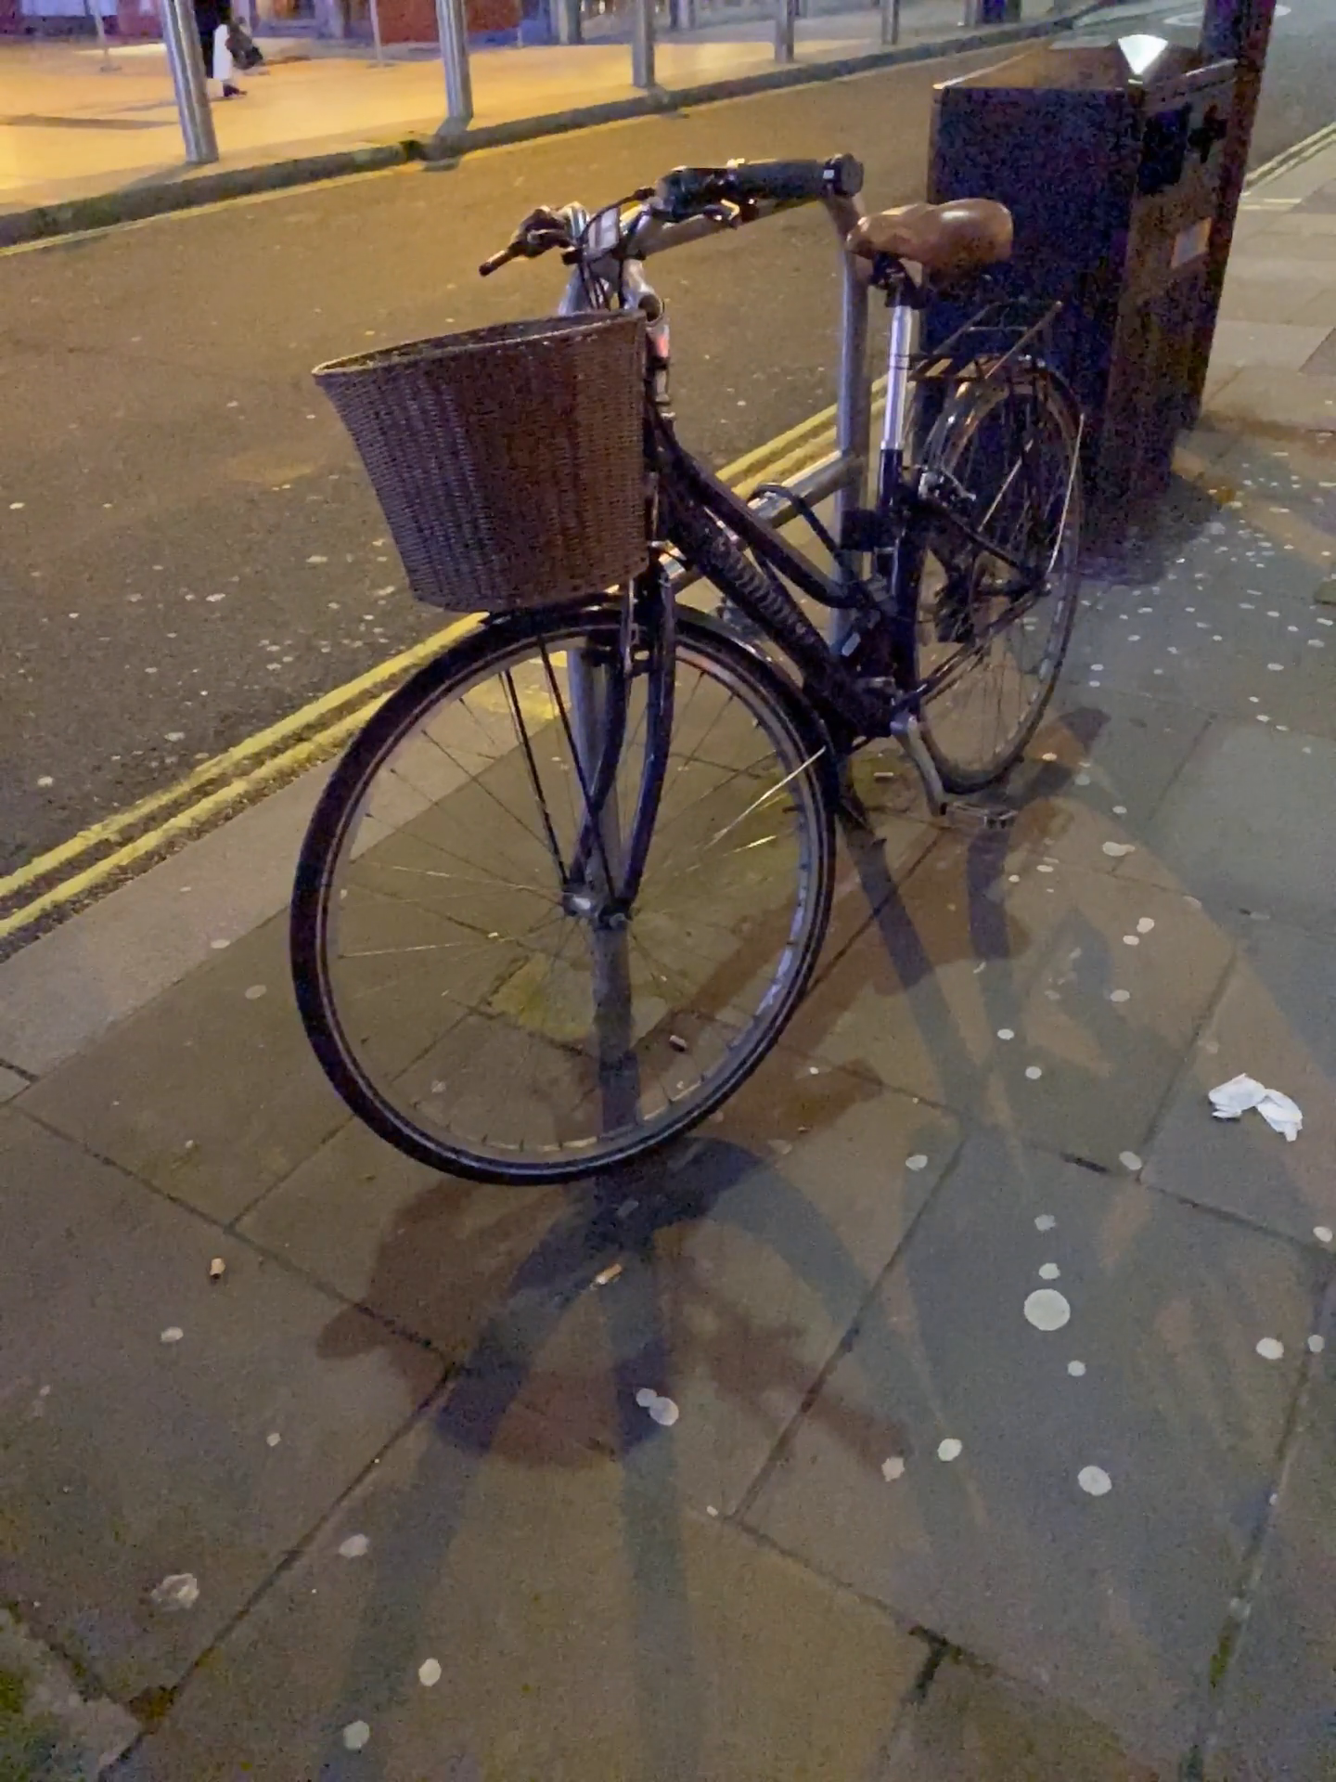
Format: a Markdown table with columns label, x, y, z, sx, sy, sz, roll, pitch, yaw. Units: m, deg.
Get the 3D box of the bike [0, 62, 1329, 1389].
| label | x | y | z | sx | sy | sz | roll | pitch | yaw |
| --- | --- | --- | --- | --- | --- | --- | --- | --- | --- |
| bike | 0.151 | -0.421 | 1.882 | 0.661 | 1.063 | 1.717 | 24 | 44 | 32 |
